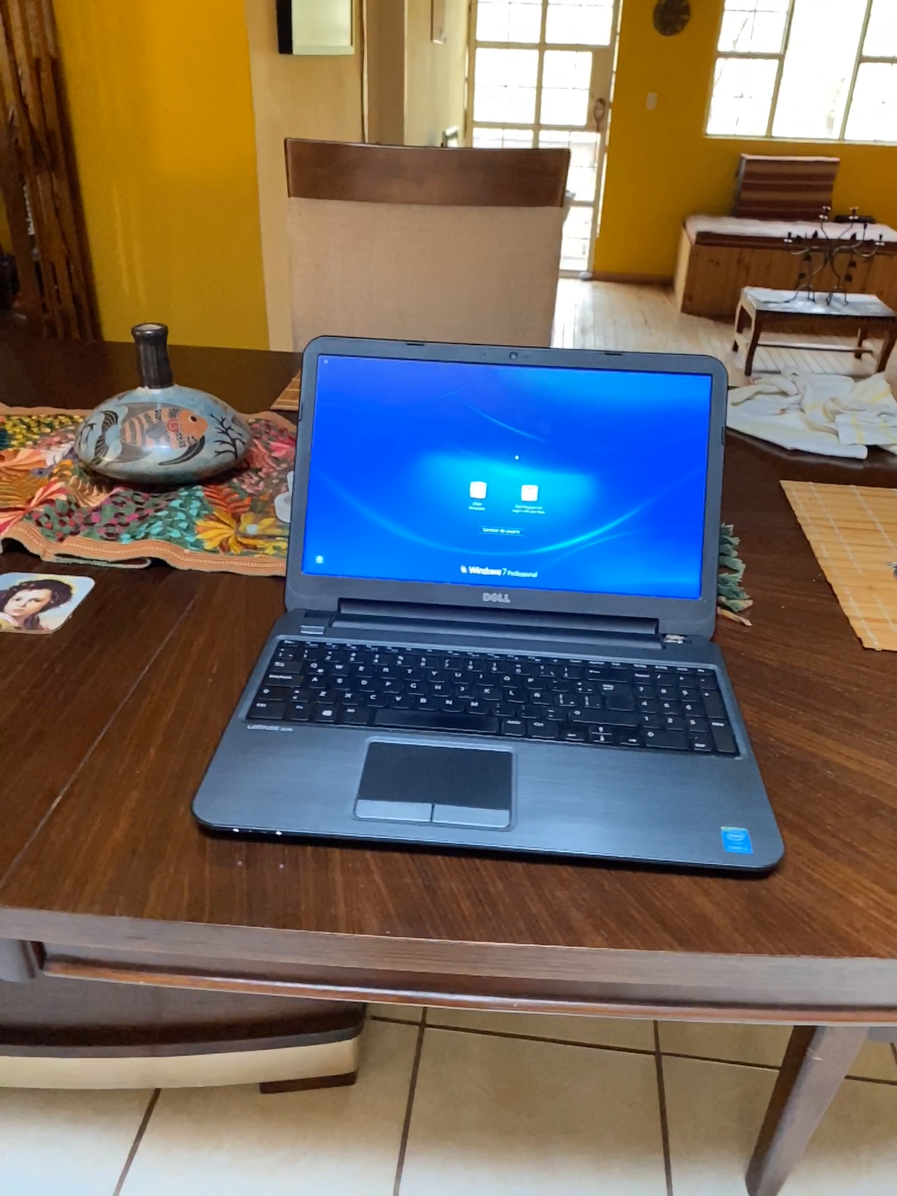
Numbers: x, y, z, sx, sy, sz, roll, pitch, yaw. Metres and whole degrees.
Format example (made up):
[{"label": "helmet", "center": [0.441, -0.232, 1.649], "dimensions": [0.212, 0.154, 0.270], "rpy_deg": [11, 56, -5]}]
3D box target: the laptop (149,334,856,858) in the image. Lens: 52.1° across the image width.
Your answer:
[{"label": "laptop", "center": [0.035, -0.038, 0.694], "dimensions": [0.367, 0.194, 0.397], "rpy_deg": [4, 31, 2]}]
